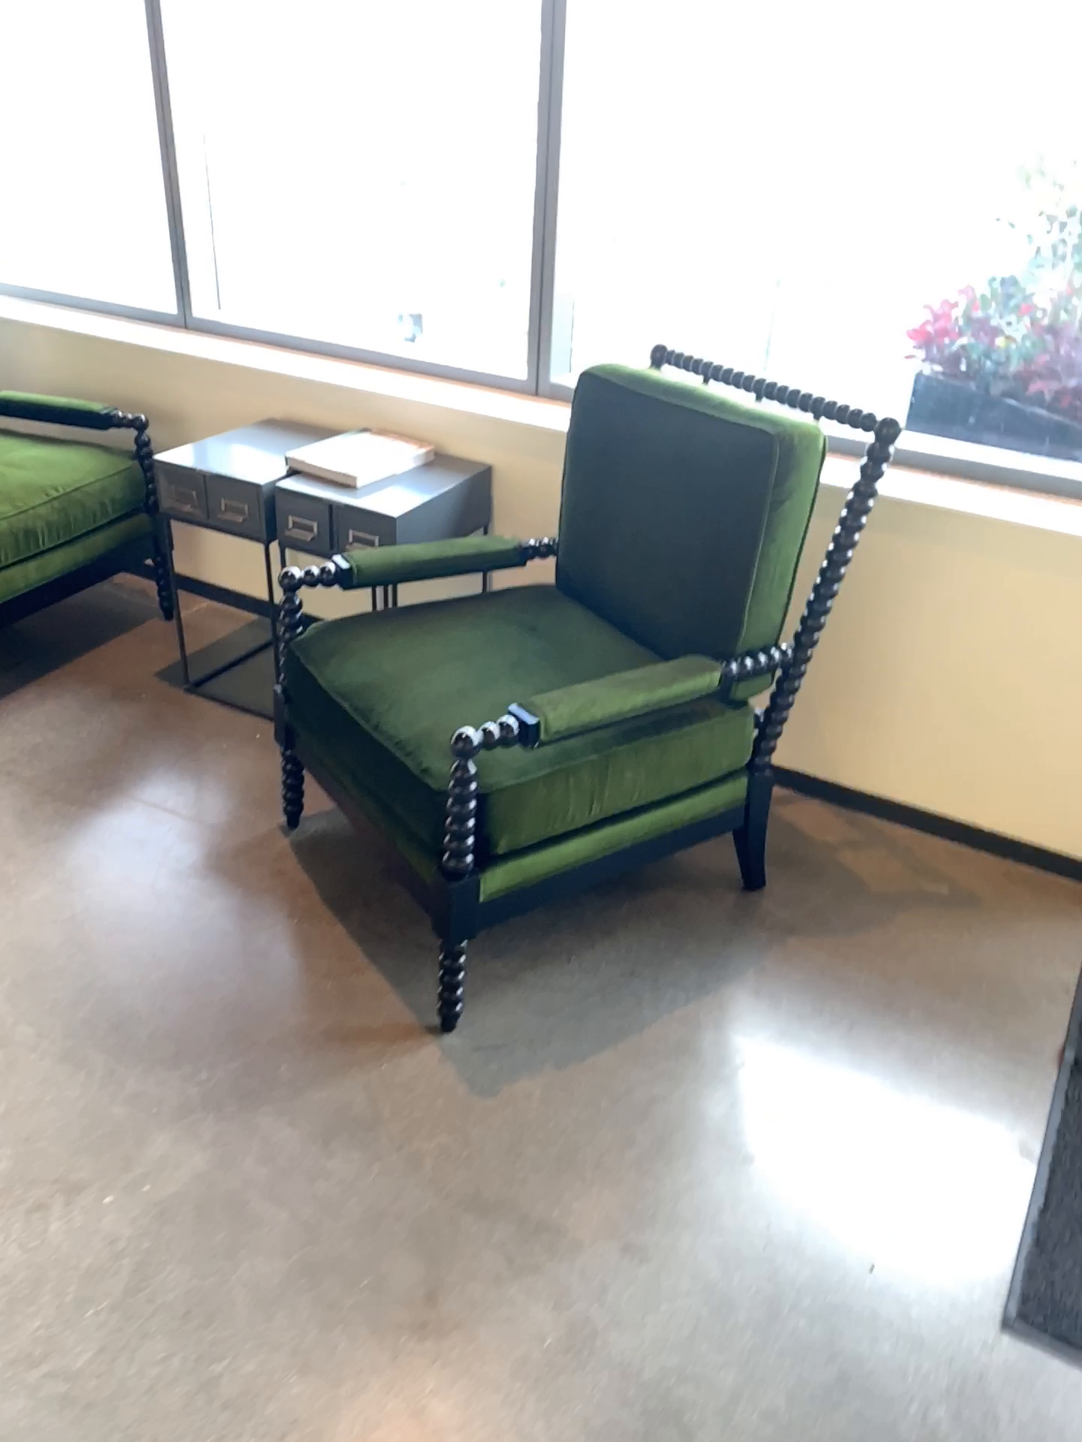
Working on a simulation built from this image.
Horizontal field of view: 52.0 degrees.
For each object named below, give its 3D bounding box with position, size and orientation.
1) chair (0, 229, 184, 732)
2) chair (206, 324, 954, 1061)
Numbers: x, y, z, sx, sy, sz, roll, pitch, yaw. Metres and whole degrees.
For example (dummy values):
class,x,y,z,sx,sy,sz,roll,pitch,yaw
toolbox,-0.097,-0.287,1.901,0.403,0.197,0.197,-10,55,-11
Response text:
class,x,y,z,sx,sy,sz,roll,pitch,yaw
chair,-1.608,-0.672,2.828,0.911,0.925,0.844,14,32,18
chair,0.016,-0.158,2.106,0.941,0.925,0.874,-16,35,-29
